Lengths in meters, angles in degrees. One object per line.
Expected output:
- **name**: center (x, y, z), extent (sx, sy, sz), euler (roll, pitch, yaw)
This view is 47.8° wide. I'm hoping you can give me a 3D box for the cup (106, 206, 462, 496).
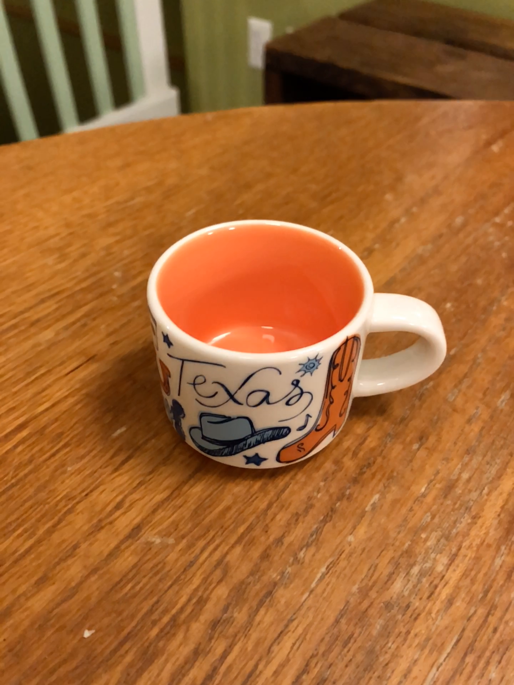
- **cup**: center (0.007, 0.000, 0.163), extent (0.076, 0.046, 0.064), euler (3, 44, 3)
